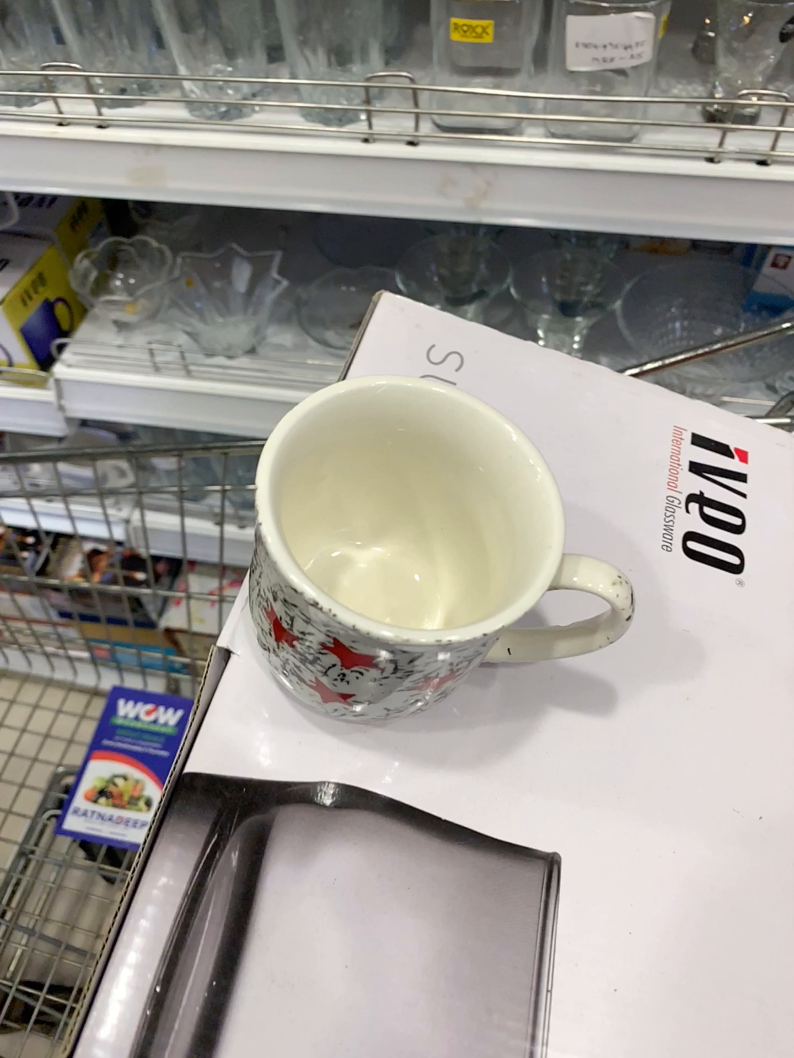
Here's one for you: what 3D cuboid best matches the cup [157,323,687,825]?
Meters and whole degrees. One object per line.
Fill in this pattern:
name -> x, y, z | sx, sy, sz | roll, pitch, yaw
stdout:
cup -> 0.005, 0.016, 0.204 | 0.100, 0.070, 0.070 | 23, 57, -7
